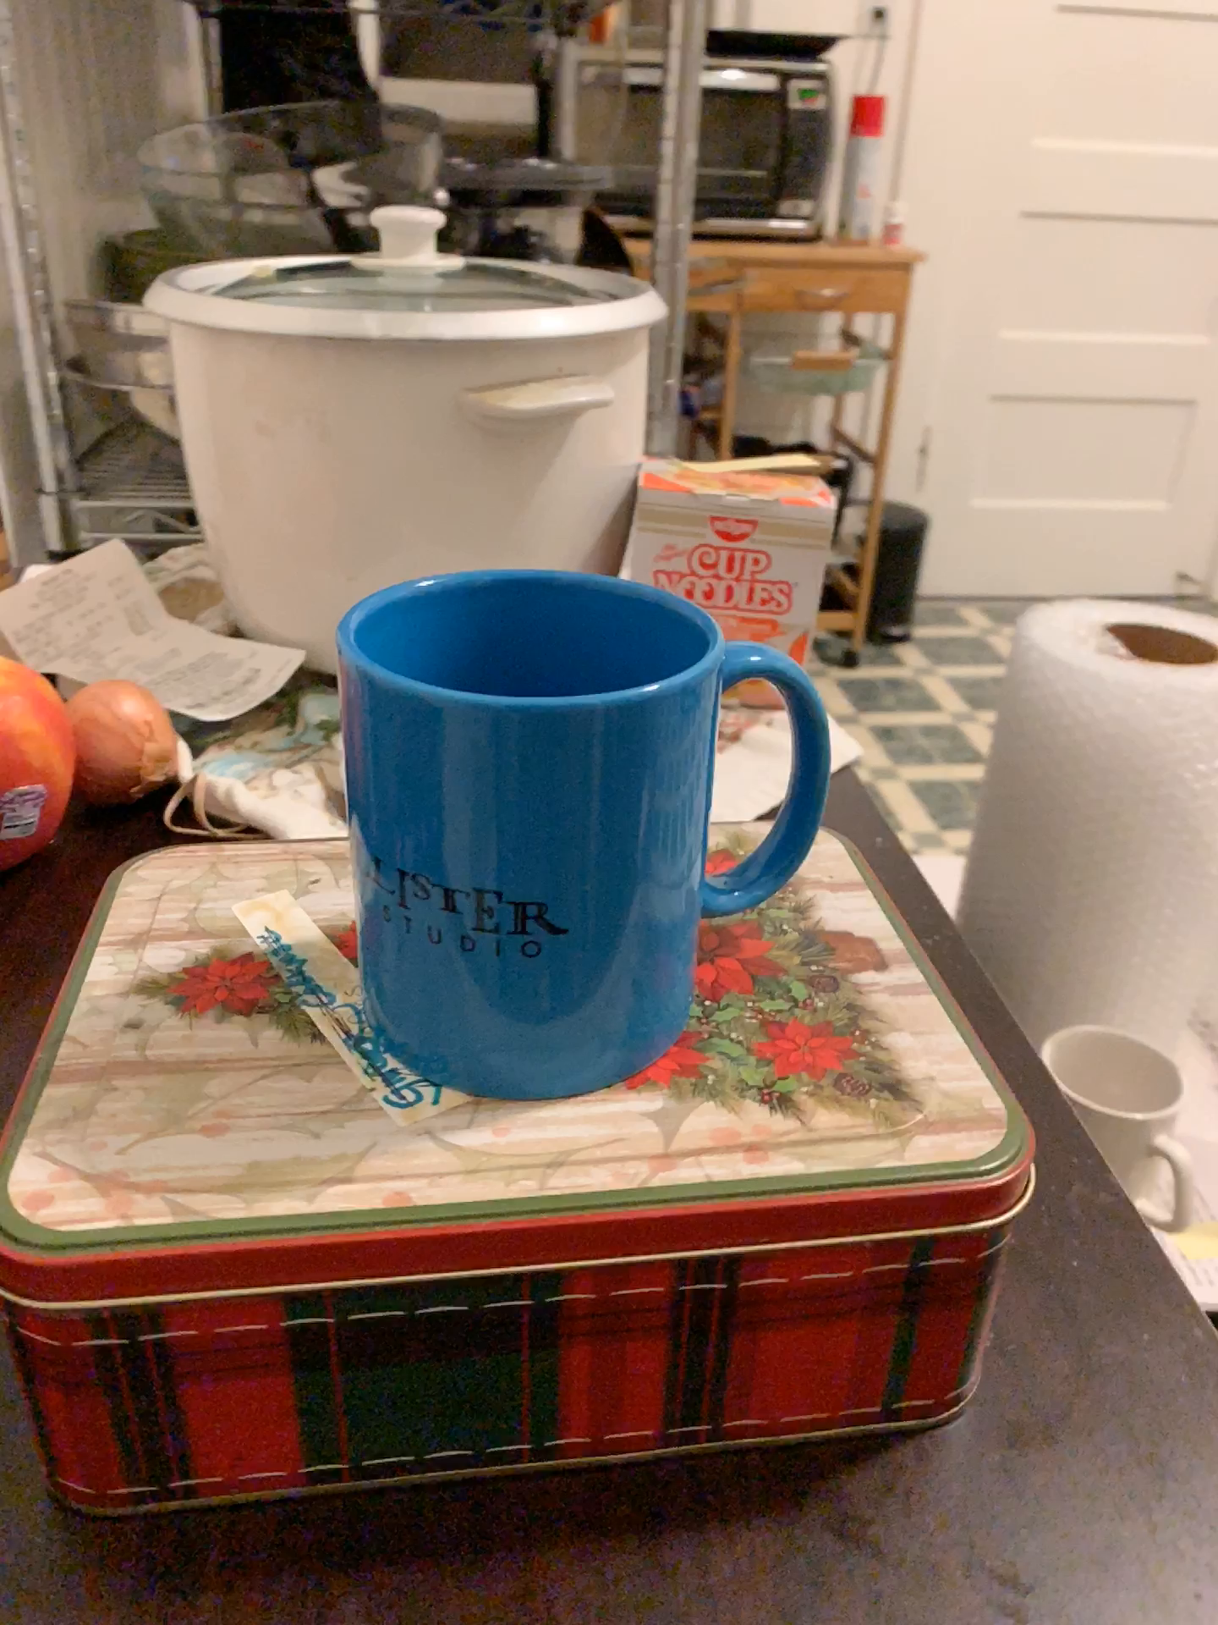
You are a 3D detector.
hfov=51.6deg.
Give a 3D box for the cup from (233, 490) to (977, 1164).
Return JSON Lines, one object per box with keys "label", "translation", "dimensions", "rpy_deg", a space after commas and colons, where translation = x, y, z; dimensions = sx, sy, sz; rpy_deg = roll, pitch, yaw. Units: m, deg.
{"label": "cup", "translation": [-0.004, -0.008, 0.290], "dimensions": [0.130, 0.099, 0.091], "rpy_deg": [-14, 32, -28]}
